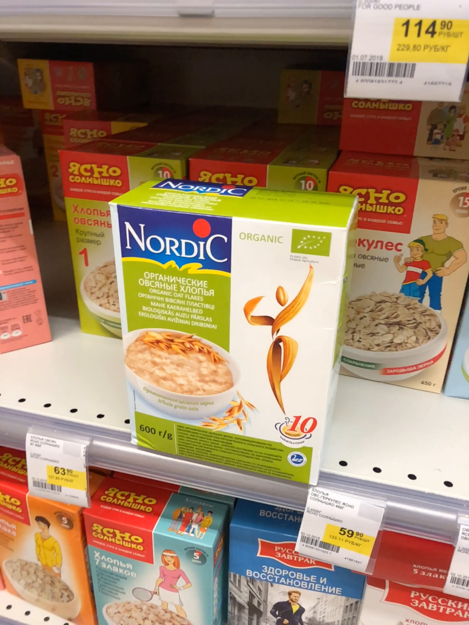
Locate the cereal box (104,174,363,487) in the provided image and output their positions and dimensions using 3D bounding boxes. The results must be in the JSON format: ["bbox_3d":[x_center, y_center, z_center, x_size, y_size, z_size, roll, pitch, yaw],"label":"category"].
[{"bbox_3d":[0.002,0.010,0.374,0.150,0.189,0.080,8,27,14],"label":"cereal box"}]
